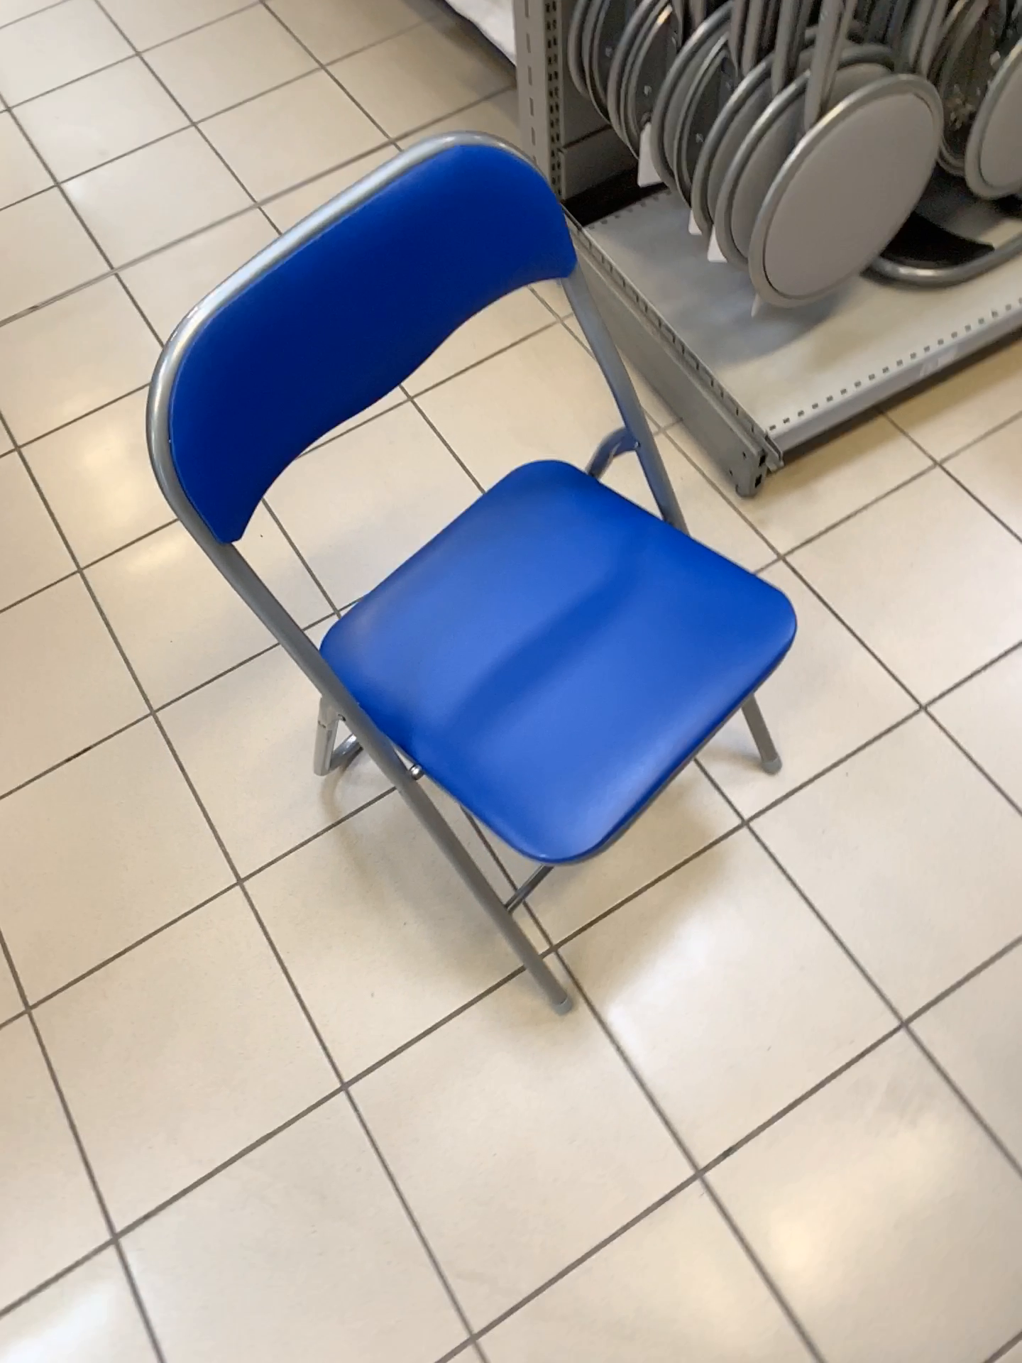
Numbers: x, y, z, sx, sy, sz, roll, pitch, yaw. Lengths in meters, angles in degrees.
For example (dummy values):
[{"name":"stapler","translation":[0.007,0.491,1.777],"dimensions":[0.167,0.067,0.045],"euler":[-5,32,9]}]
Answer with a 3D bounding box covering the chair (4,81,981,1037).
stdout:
[{"name":"chair","translation":[0.000,-0.064,1.046],"dimensions":[0.525,0.664,0.479],"euler":[38,72,21]}]
